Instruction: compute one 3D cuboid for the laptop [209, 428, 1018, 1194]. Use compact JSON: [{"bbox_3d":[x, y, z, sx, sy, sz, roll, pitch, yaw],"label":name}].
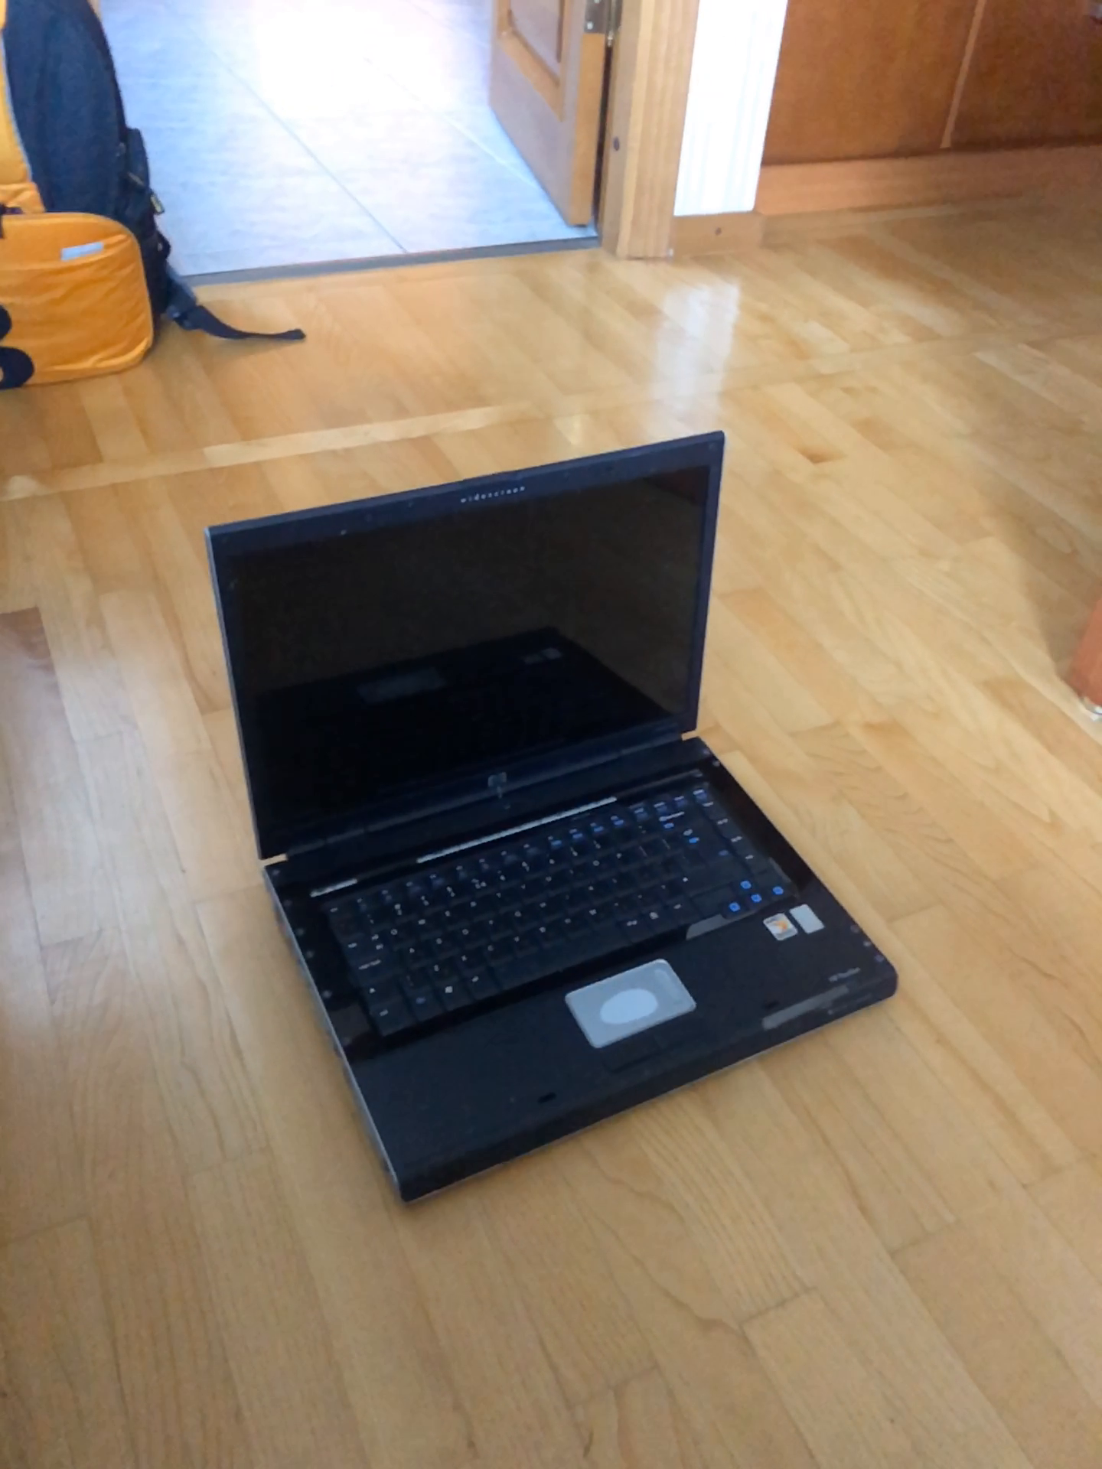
[{"bbox_3d":[0.018,0.022,0.775,0.364,0.254,0.307,-16,46,-23],"label":"laptop"}]
